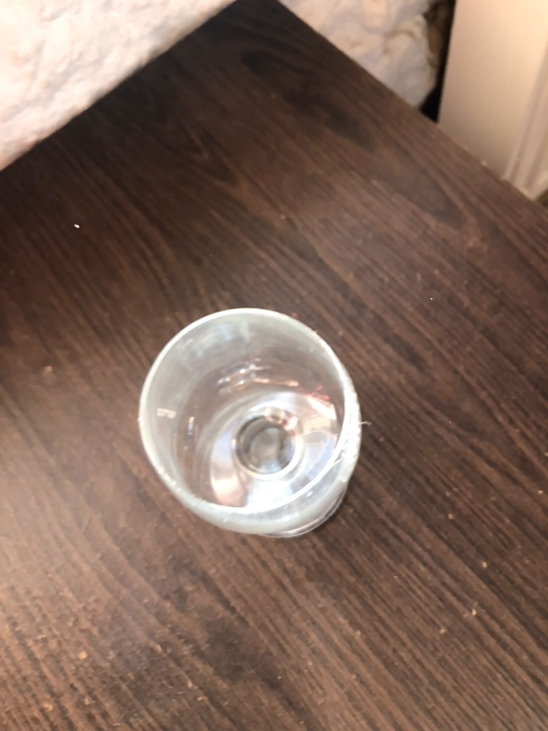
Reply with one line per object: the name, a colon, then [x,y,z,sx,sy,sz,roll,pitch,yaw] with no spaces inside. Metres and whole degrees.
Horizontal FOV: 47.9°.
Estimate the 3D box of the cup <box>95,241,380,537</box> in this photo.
cup: [-0.008,0.019,0.245,0.085,0.108,0.077,-8,69,6]
